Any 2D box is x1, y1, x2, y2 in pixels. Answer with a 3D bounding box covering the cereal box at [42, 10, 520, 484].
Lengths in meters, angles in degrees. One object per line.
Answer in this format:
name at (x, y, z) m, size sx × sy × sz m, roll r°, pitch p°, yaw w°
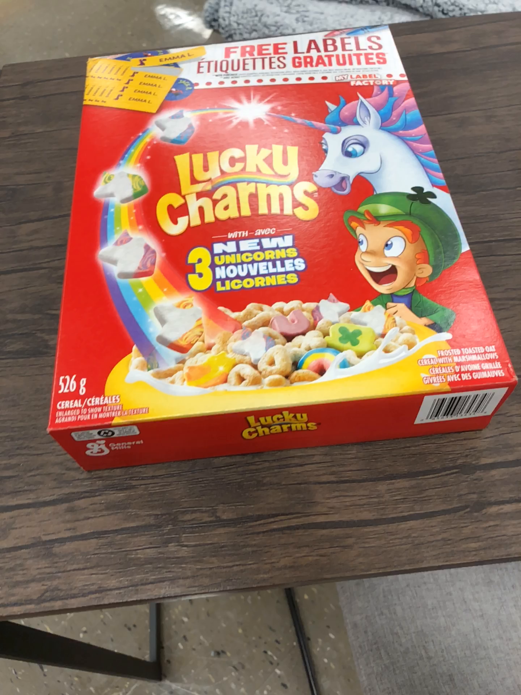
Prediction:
cereal box at (-0.003, -0.091, 0.399) m, size 0.230 × 0.080 × 0.331 m, roll -6°, pitch 58°, yaw 0°
